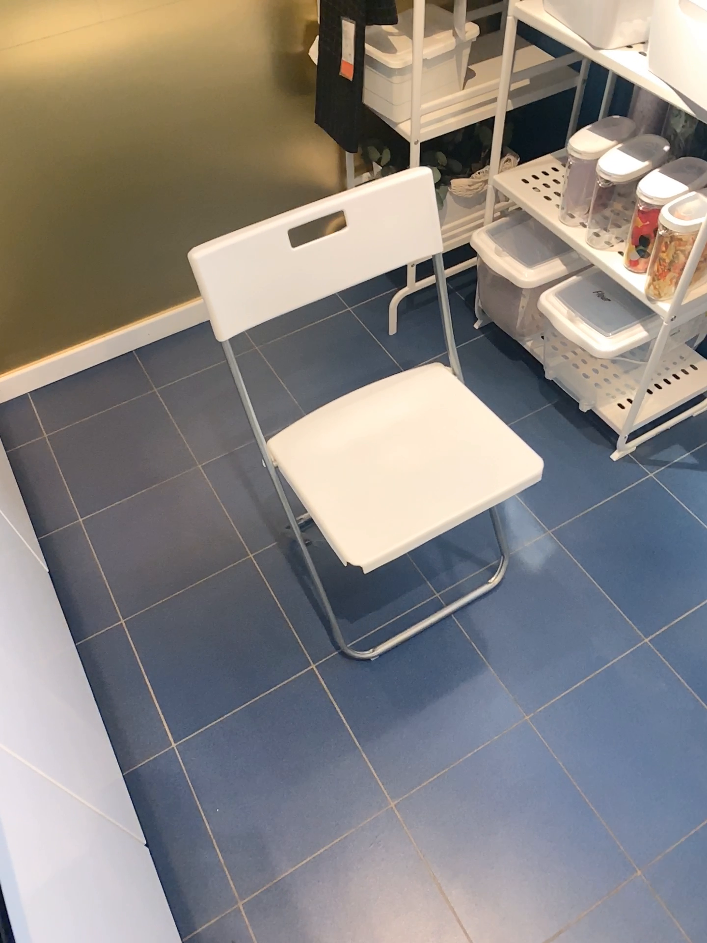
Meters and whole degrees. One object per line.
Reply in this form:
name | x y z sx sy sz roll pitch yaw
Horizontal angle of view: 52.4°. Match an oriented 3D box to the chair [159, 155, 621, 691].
chair | 0.047 -0.049 1.261 0.460 0.708 0.451 -26 56 -16
